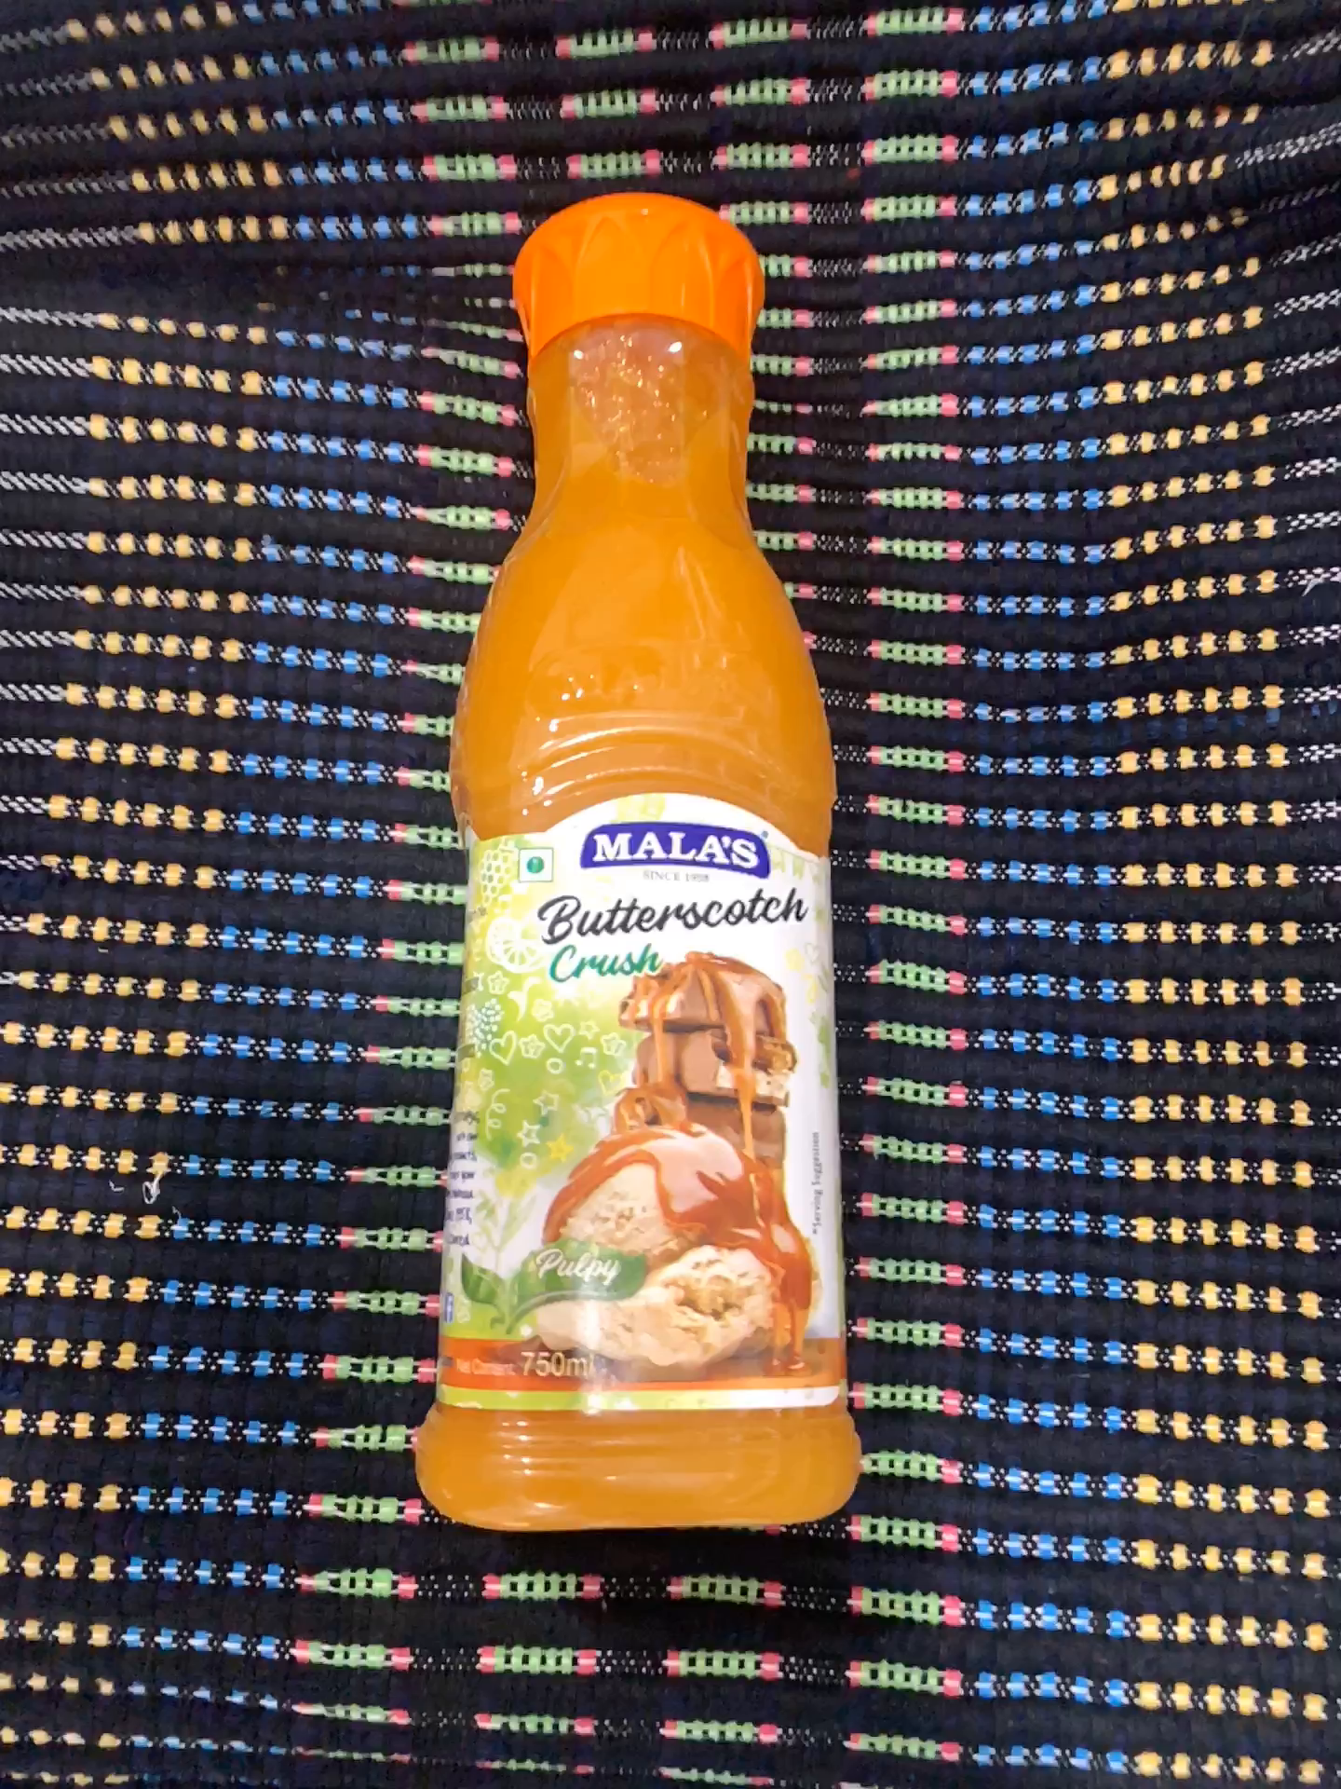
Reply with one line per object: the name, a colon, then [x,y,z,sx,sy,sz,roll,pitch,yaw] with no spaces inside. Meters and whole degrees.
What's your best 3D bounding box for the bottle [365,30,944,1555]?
bottle: [-0.004,-0.028,0.238,0.070,0.060,0.250,2,69,-6]
